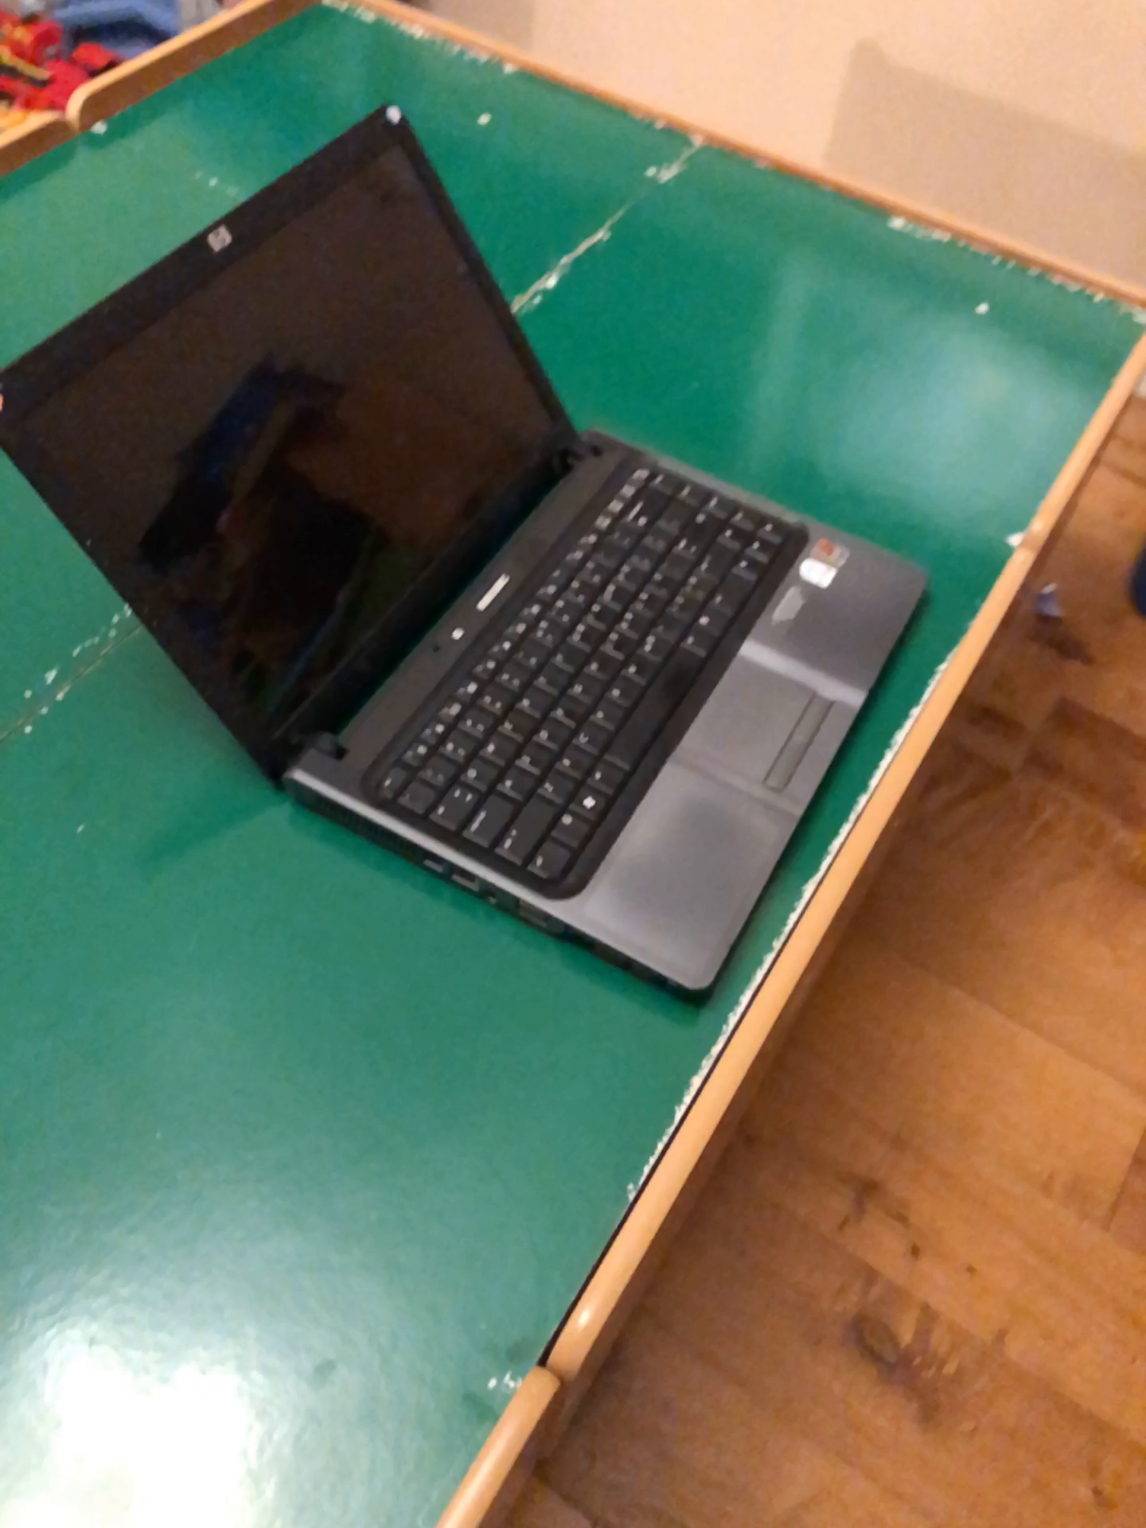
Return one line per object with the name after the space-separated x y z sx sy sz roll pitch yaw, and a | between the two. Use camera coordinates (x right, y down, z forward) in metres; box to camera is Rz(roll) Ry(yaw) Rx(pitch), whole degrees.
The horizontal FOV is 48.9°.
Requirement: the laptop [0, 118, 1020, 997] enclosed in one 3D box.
-0.022 -0.131 0.659 0.374 0.172 0.324 26 55 14 | laptop
